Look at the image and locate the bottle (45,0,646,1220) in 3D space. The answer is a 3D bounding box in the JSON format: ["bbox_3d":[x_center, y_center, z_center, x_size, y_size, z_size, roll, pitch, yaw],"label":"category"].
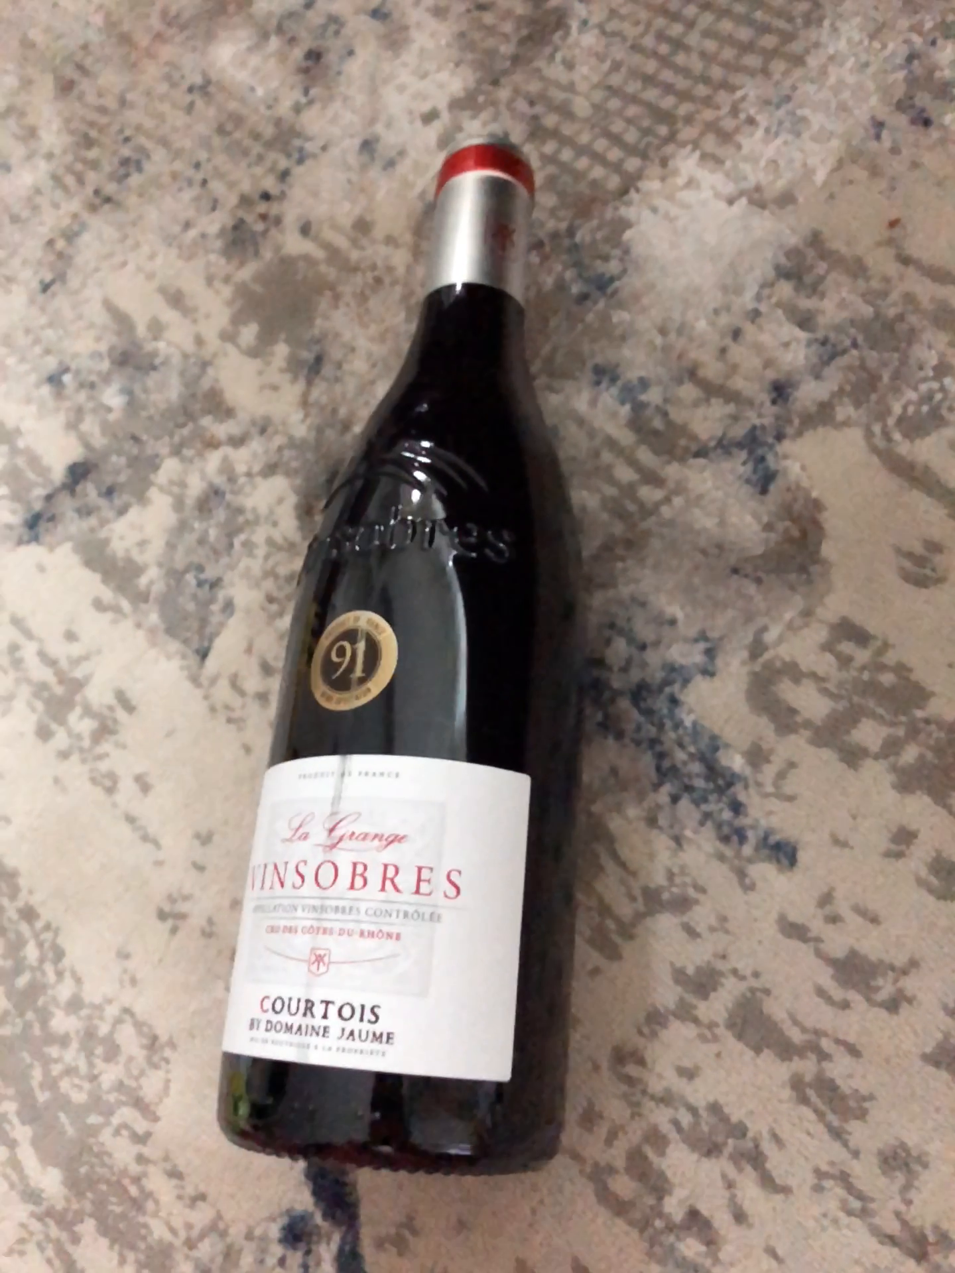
[{"bbox_3d":[-0.014,-0.022,0.293,0.090,0.100,0.300,-3,69,22],"label":"bottle"}]
